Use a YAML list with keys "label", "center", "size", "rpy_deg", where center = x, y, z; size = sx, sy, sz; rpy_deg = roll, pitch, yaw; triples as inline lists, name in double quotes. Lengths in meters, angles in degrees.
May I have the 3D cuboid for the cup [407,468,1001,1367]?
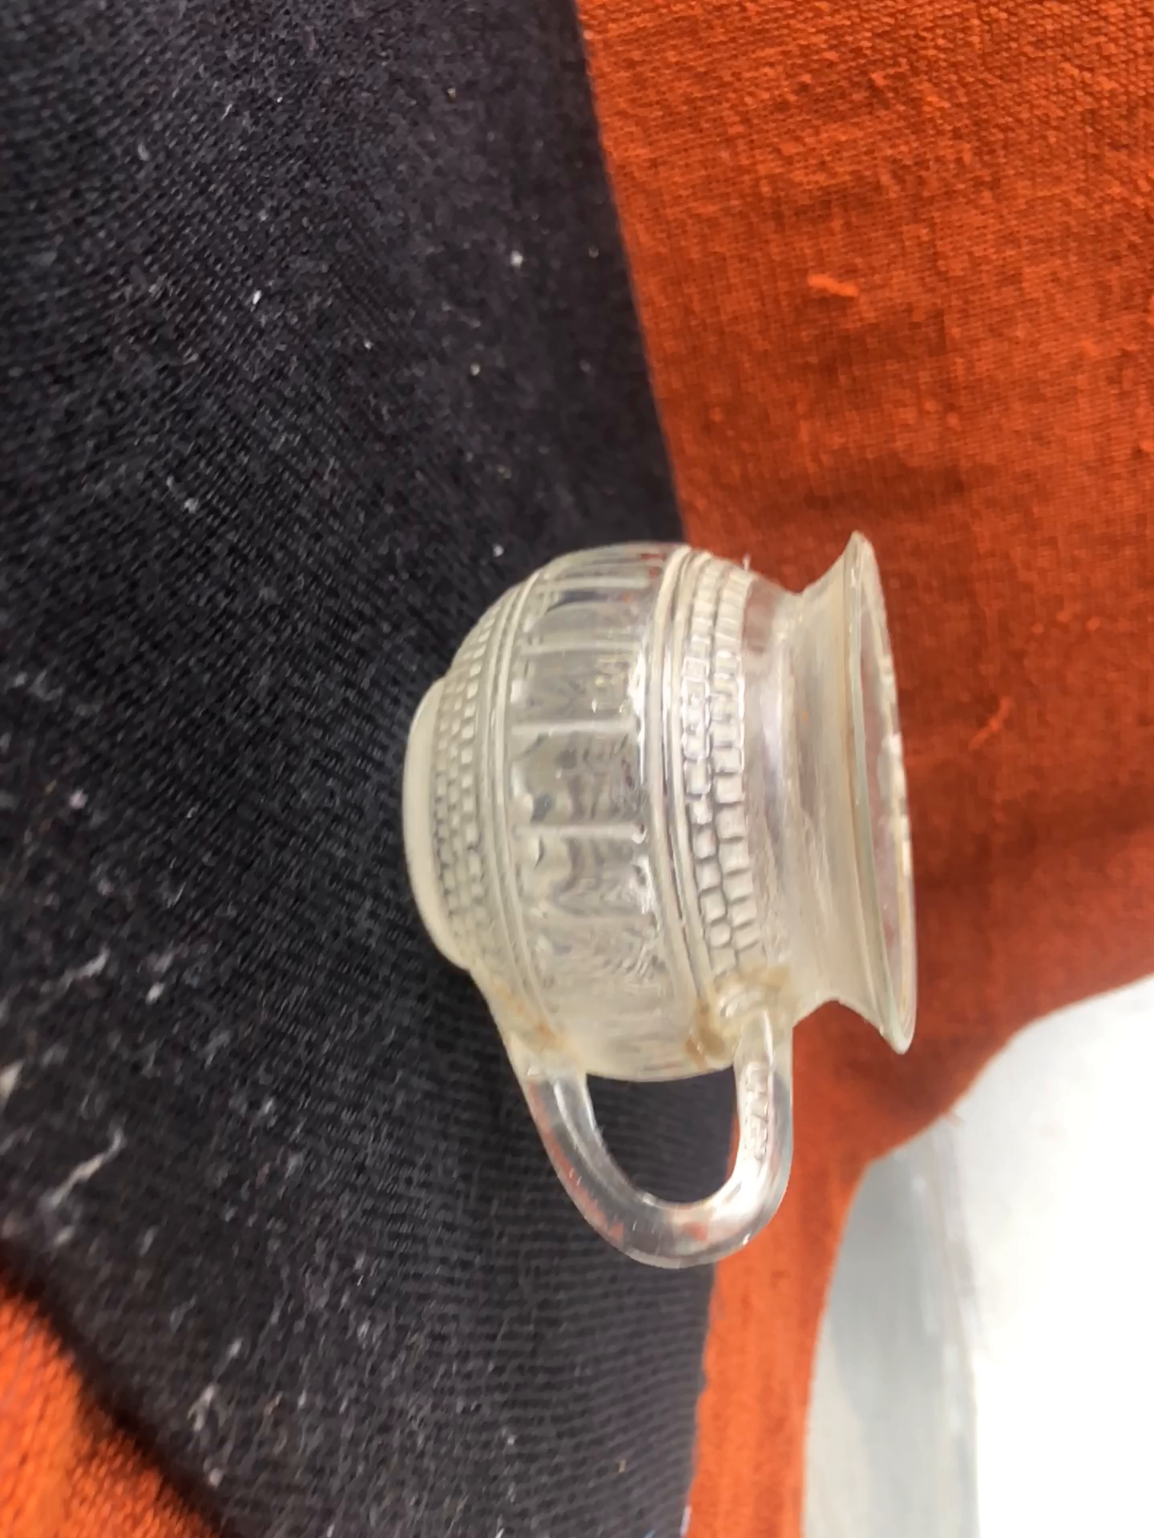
- label: "cup"
  center: [0.020, 0.021, 0.173]
  size: [0.070, 0.060, 0.090]
  rpy_deg: [29, 58, -70]
